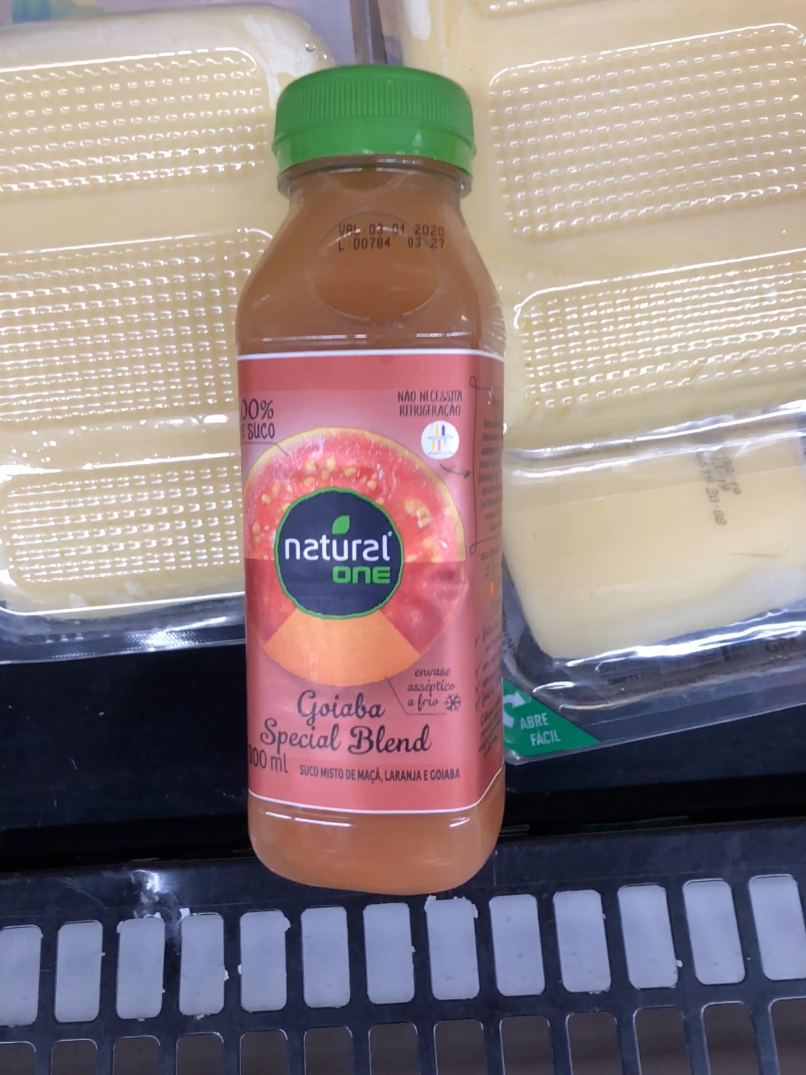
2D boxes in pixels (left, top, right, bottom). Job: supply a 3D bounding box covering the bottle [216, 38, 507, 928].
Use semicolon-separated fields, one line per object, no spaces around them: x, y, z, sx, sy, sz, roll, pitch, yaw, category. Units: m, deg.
-0.006;-0.011;0.220;0.060;0.070;0.180;0;90;5;bottle
